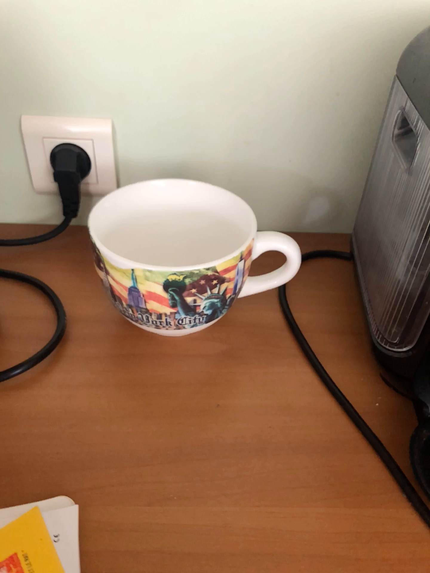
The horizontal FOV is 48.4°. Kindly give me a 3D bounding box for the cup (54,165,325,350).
[{"bbox_3d":[-0.013,-0.028,0.367,0.170,0.070,0.121,5,40,2],"label":"cup"}]
